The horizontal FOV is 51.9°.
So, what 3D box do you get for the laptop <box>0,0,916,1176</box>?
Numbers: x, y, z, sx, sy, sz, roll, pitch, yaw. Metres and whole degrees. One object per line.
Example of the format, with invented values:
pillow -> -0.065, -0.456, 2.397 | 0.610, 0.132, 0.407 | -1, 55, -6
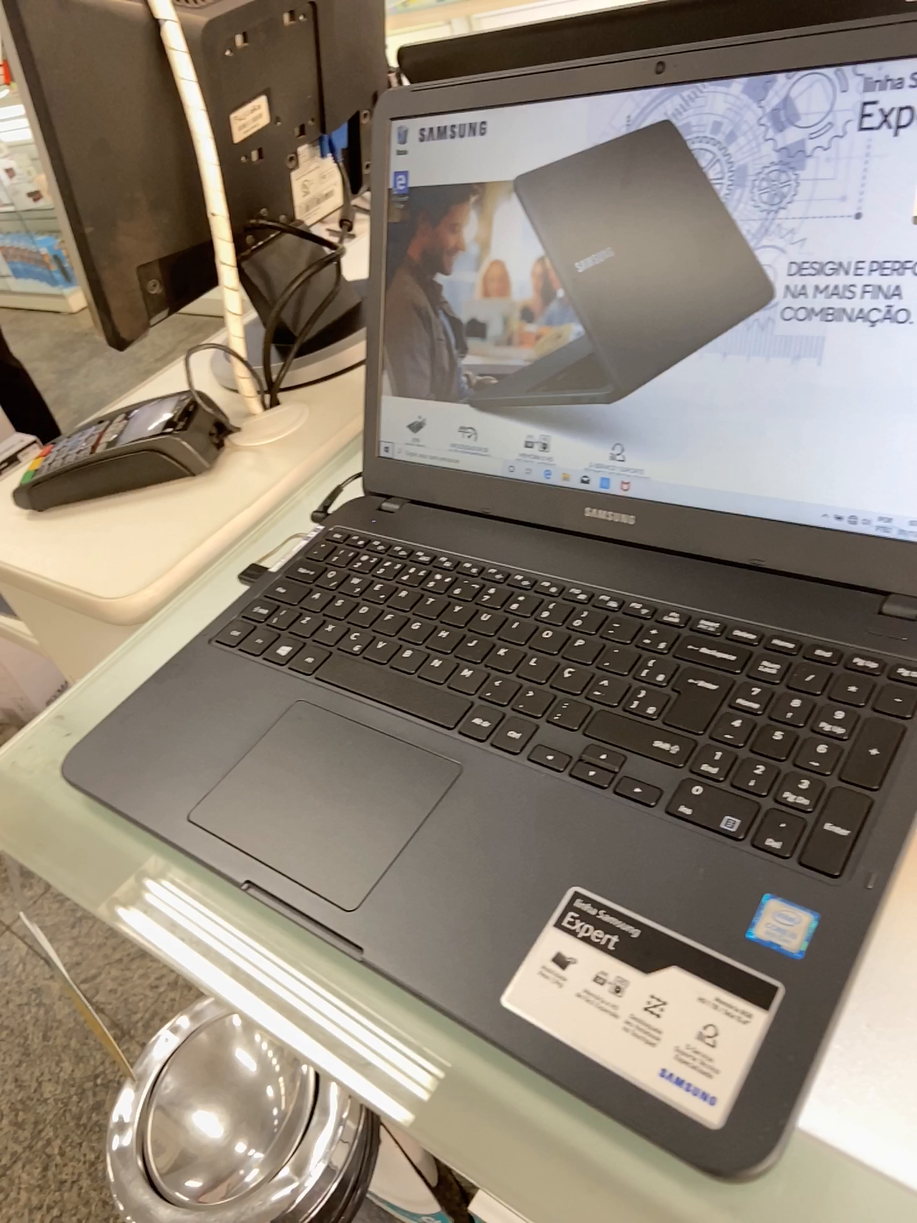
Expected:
laptop -> 0.017, -0.073, 0.412 | 0.371, 0.200, 0.369 | 14, 50, 37
